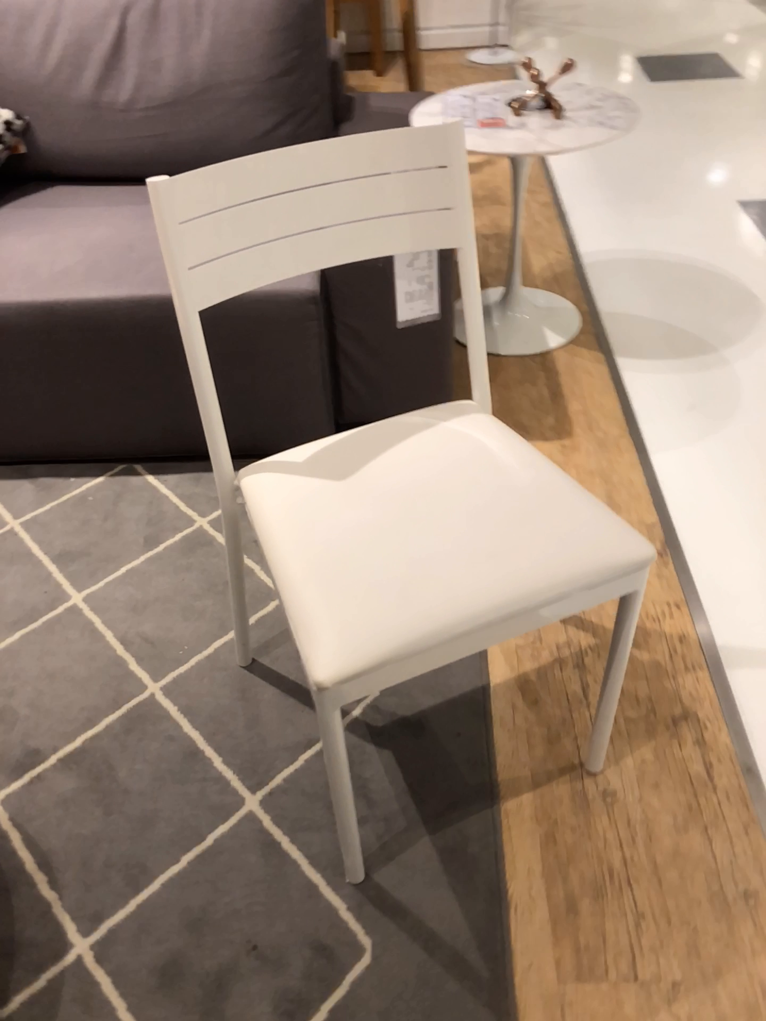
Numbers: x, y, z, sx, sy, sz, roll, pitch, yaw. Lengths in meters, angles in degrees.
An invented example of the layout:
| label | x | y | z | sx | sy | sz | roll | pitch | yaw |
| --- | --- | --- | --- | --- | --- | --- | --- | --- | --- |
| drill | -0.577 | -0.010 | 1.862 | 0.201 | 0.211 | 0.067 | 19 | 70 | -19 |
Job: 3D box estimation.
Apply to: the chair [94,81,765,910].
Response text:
| label | x | y | z | sx | sy | sz | roll | pitch | yaw |
| --- | --- | --- | --- | --- | --- | --- | --- | --- | --- |
| chair | 0.027 | -0.003 | 1.011 | 0.451 | 0.774 | 0.473 | -19 | 44 | -16 |
